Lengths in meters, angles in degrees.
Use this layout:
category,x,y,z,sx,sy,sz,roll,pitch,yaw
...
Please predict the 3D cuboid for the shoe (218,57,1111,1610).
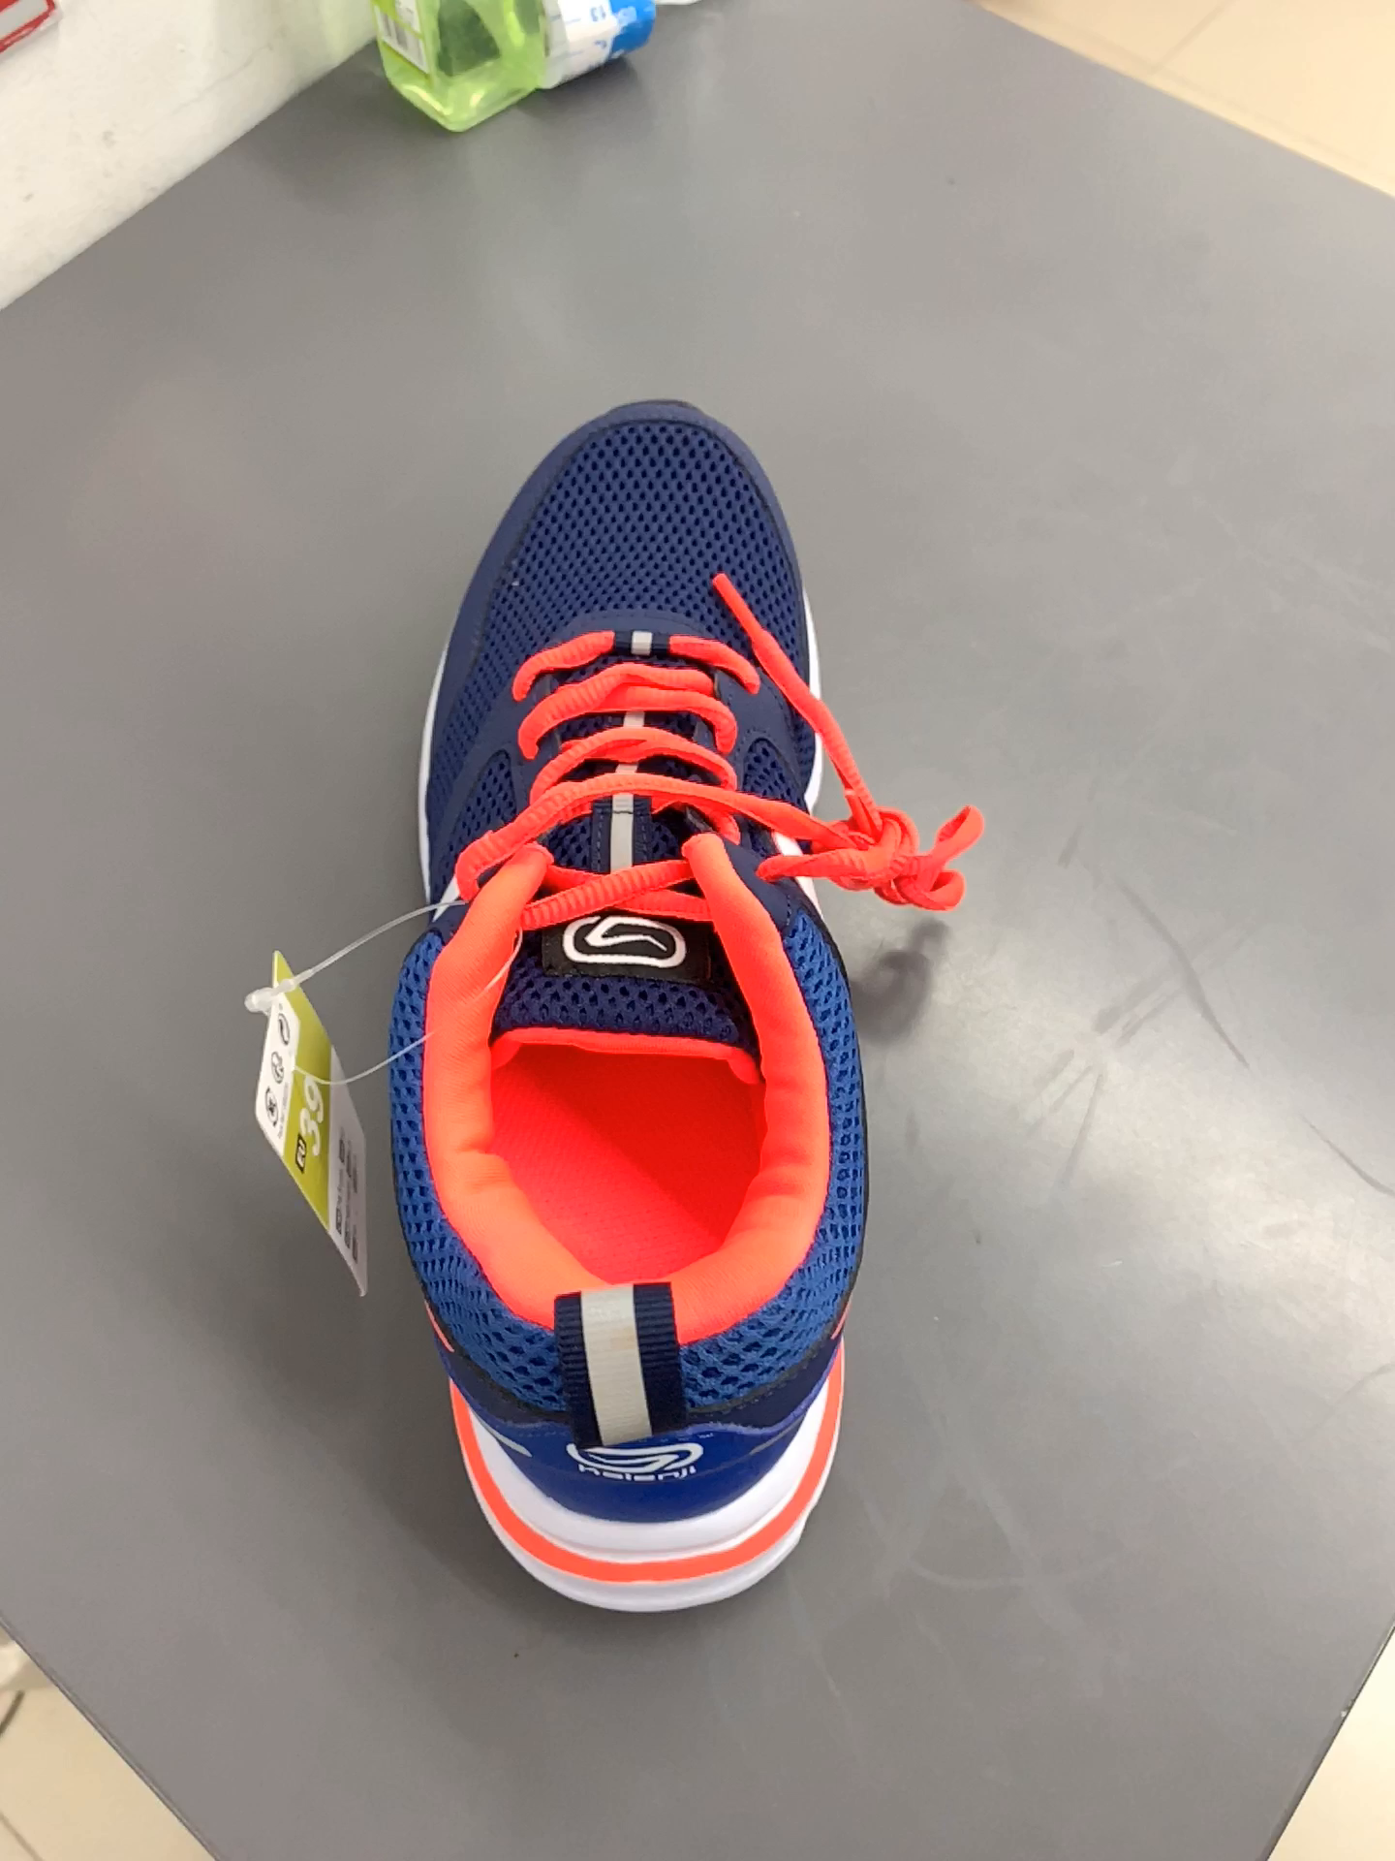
category,x,y,z,sx,sy,sz,roll,pitch,yaw
shoe,-0.009,-0.020,0.304,0.110,0.140,0.290,-2,64,0
